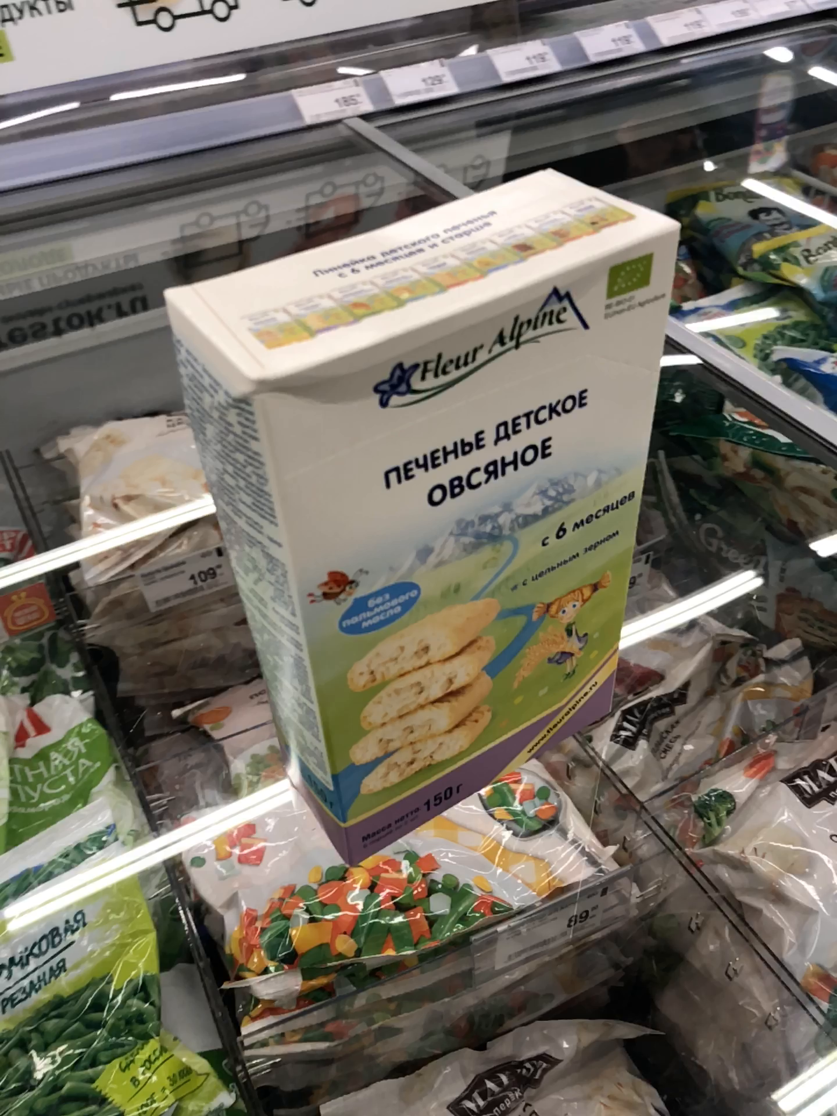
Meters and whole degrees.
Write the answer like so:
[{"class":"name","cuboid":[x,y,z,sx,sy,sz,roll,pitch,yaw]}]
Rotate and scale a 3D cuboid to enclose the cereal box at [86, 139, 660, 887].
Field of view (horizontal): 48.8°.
[{"class":"cereal box","cuboid":[-0.003,-0.003,0.269,0.120,0.189,0.050,-27,48,-23]}]
